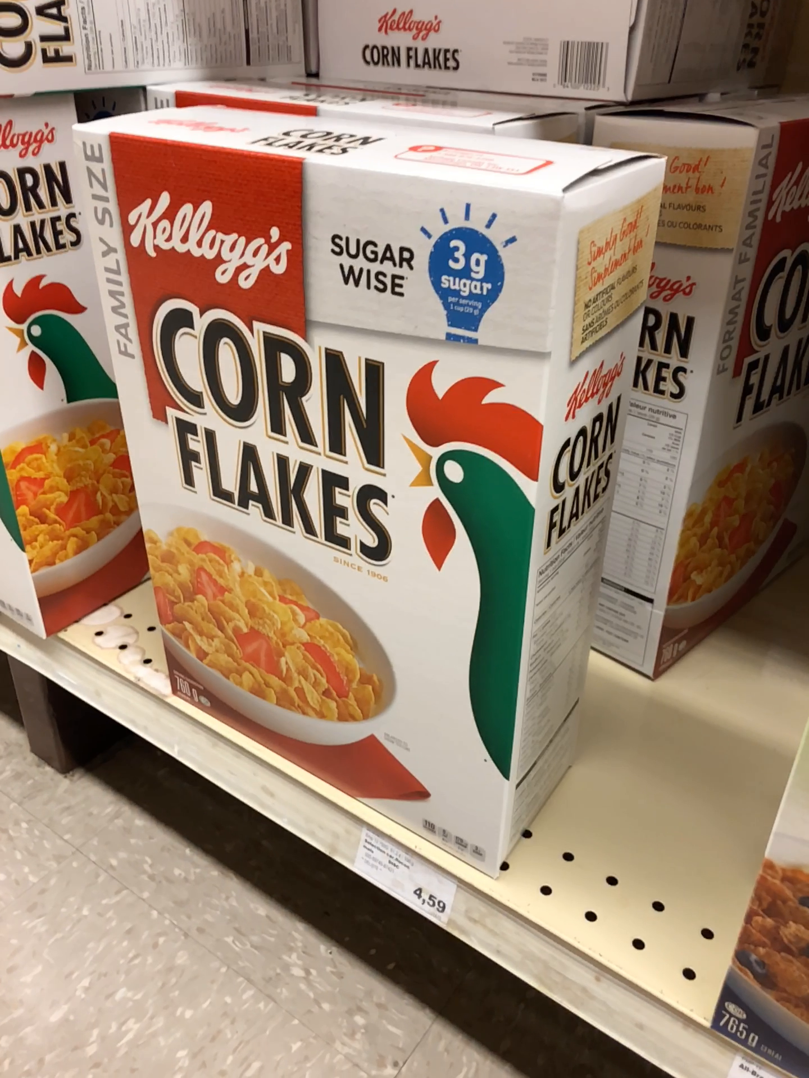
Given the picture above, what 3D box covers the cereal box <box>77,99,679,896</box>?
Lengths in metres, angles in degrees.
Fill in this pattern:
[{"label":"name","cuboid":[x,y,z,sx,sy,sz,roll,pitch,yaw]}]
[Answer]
[{"label":"cereal box","cuboid":[-0.026,-0.025,0.512,0.271,0.387,0.101,20,35,28]}]
